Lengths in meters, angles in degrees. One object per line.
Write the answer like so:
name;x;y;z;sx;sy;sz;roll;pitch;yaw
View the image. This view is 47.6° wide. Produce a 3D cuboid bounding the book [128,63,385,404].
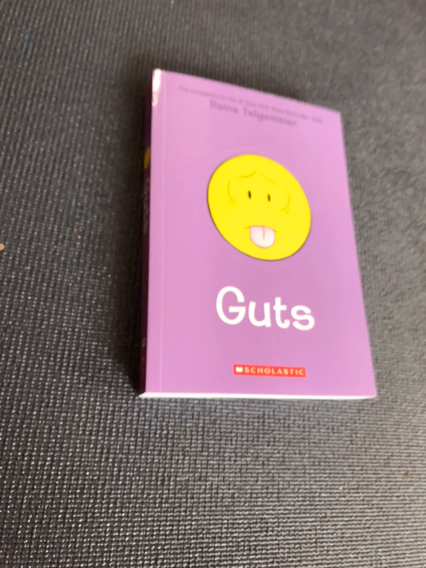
book;0.024;-0.031;0.298;0.143;0.024;0.202;5;69;-19
